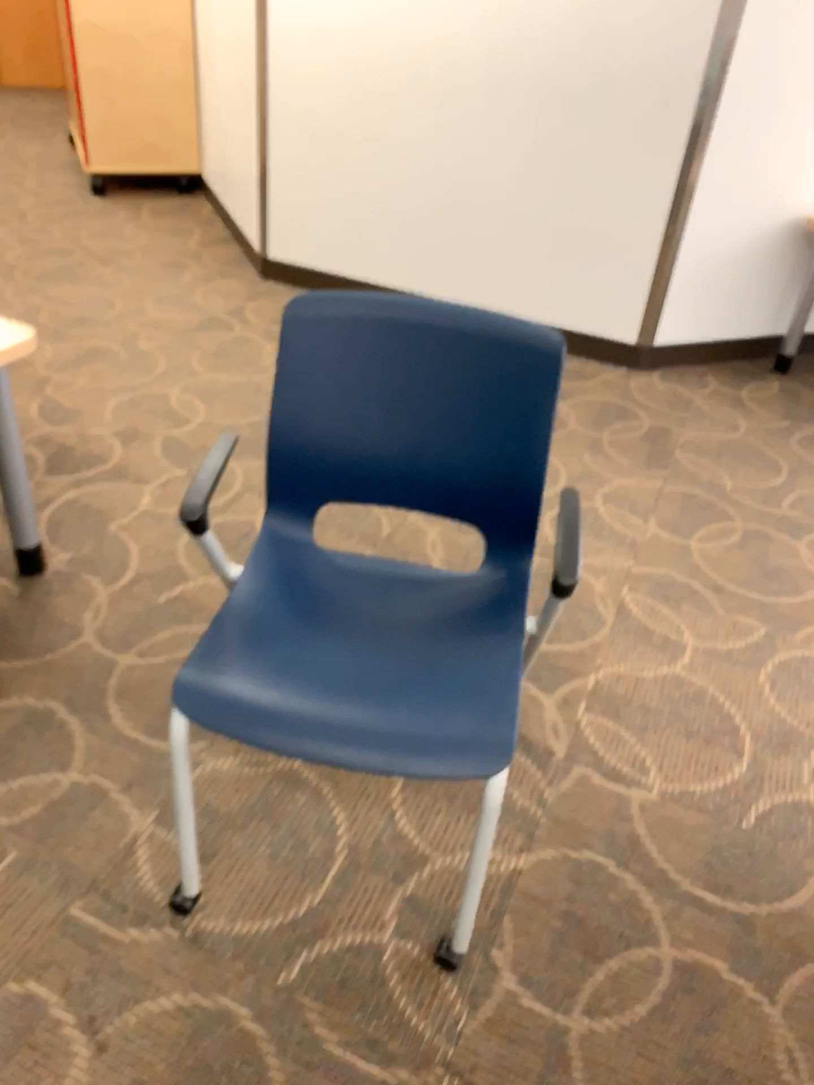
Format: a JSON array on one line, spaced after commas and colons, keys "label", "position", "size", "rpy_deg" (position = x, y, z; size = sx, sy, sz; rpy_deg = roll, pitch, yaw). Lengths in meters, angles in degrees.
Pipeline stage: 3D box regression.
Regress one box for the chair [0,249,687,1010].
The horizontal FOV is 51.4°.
[{"label": "chair", "position": [-0.059, 0.081, 1.139], "size": [0.620, 0.687, 0.613], "rpy_deg": [10, 35, 6]}]
